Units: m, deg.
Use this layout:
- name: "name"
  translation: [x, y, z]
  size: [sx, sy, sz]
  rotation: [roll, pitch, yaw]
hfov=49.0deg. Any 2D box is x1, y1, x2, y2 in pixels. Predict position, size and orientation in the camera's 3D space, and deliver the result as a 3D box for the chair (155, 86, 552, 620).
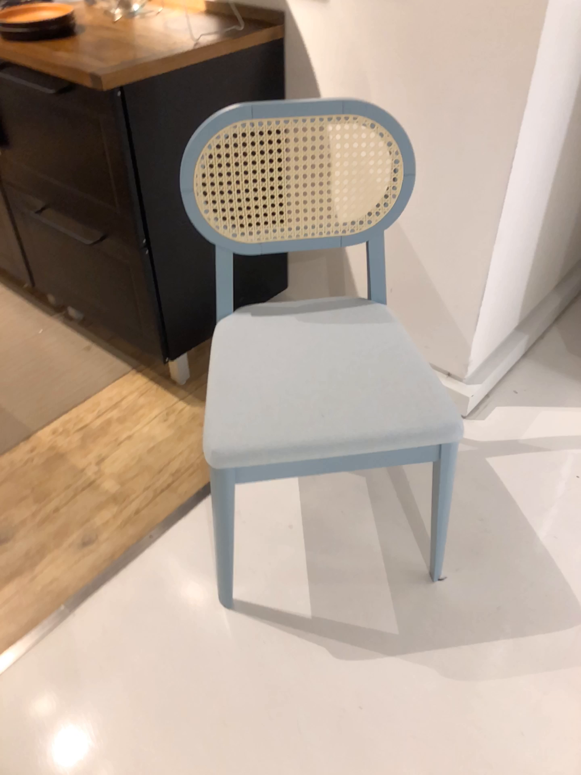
- name: "chair"
  translation: [0.050, -0.050, 1.241]
  size: [0.480, 0.824, 0.564]
  rotation: [-5, 41, -5]
